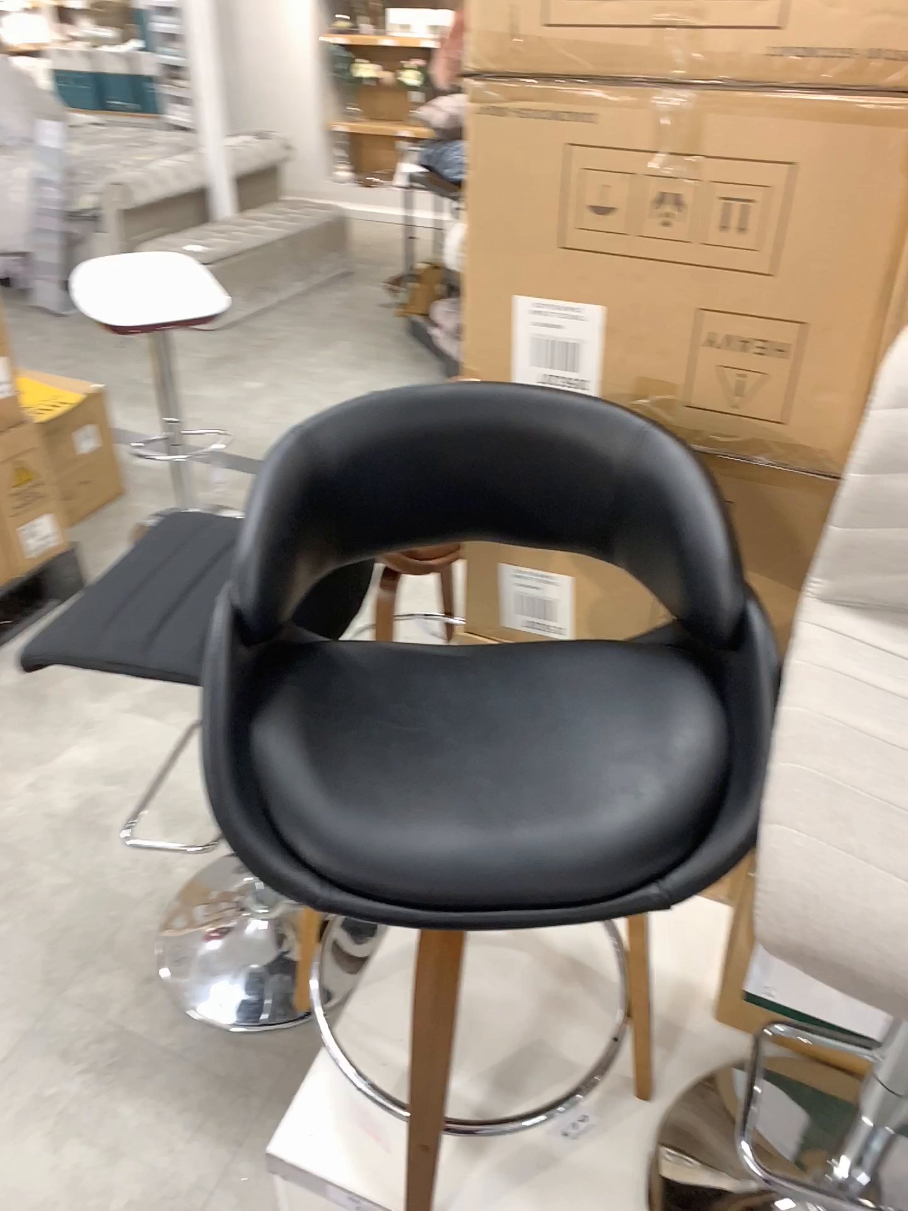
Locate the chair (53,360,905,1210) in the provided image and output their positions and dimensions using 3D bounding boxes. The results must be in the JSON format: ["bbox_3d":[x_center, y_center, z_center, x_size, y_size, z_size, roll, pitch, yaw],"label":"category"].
[{"bbox_3d":[0.018,0.265,1.082,0.564,0.897,0.552,-5,34,-3],"label":"chair"}]

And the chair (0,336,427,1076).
[{"bbox_3d":[-0.347,0.162,1.485,0.467,1.017,0.488,10,31,13],"label":"chair"}]

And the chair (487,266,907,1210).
[{"bbox_3d":[0.336,0.287,0.795,0.435,0.967,0.440,14,36,16],"label":"chair"}]
